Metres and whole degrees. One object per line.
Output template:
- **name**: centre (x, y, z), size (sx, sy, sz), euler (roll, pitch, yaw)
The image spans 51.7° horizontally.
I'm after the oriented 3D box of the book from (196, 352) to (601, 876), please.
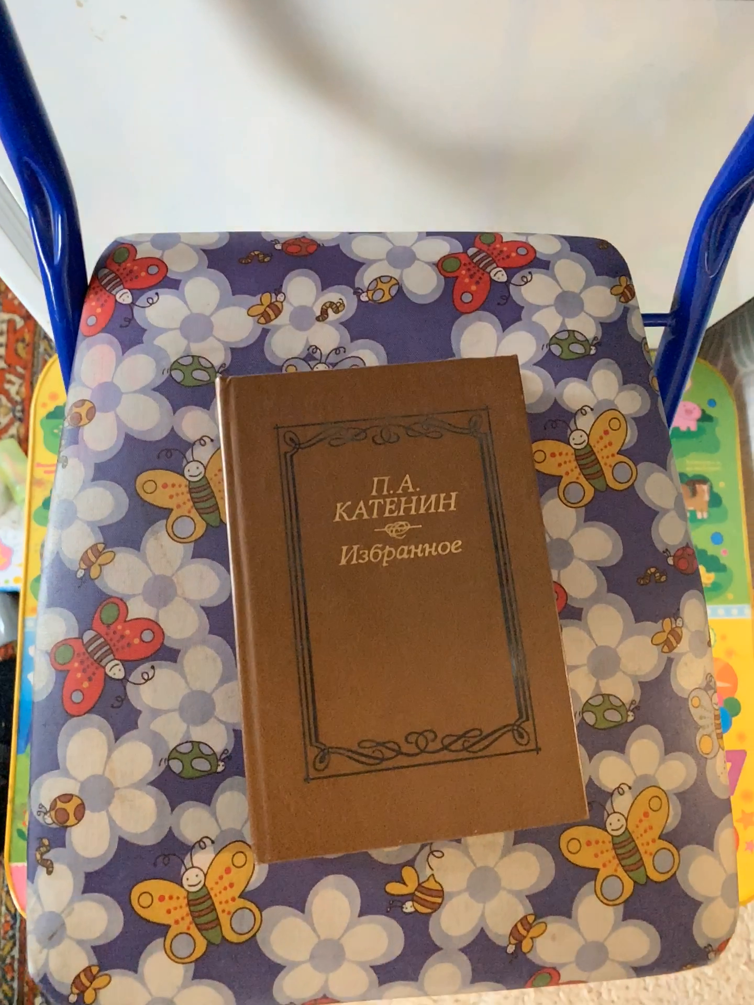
- **book**: centre (0.005, 0.034, 0.285), size (0.124, 0.020, 0.170), euler (-6, 80, -6)
